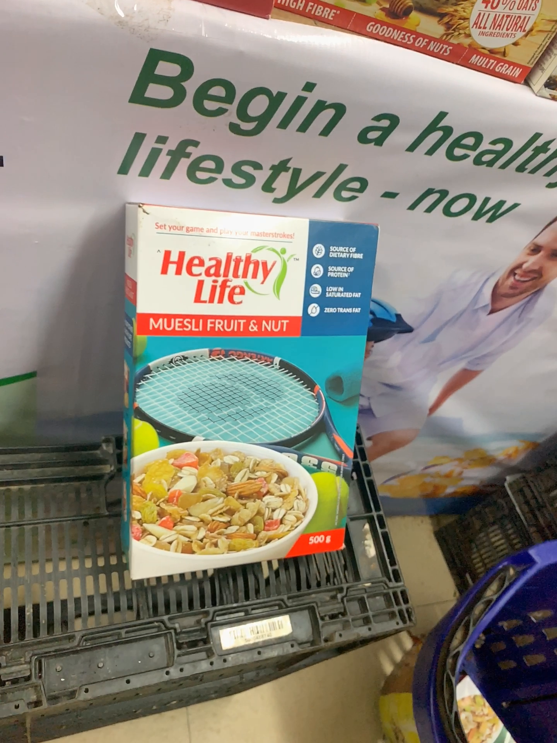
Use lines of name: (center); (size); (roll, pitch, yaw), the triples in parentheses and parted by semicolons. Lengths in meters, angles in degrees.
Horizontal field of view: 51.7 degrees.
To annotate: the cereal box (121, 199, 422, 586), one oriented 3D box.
cereal box: (-0.013, 0.012, 0.420); (0.190, 0.250, 0.070); (-1, 16, -21)
